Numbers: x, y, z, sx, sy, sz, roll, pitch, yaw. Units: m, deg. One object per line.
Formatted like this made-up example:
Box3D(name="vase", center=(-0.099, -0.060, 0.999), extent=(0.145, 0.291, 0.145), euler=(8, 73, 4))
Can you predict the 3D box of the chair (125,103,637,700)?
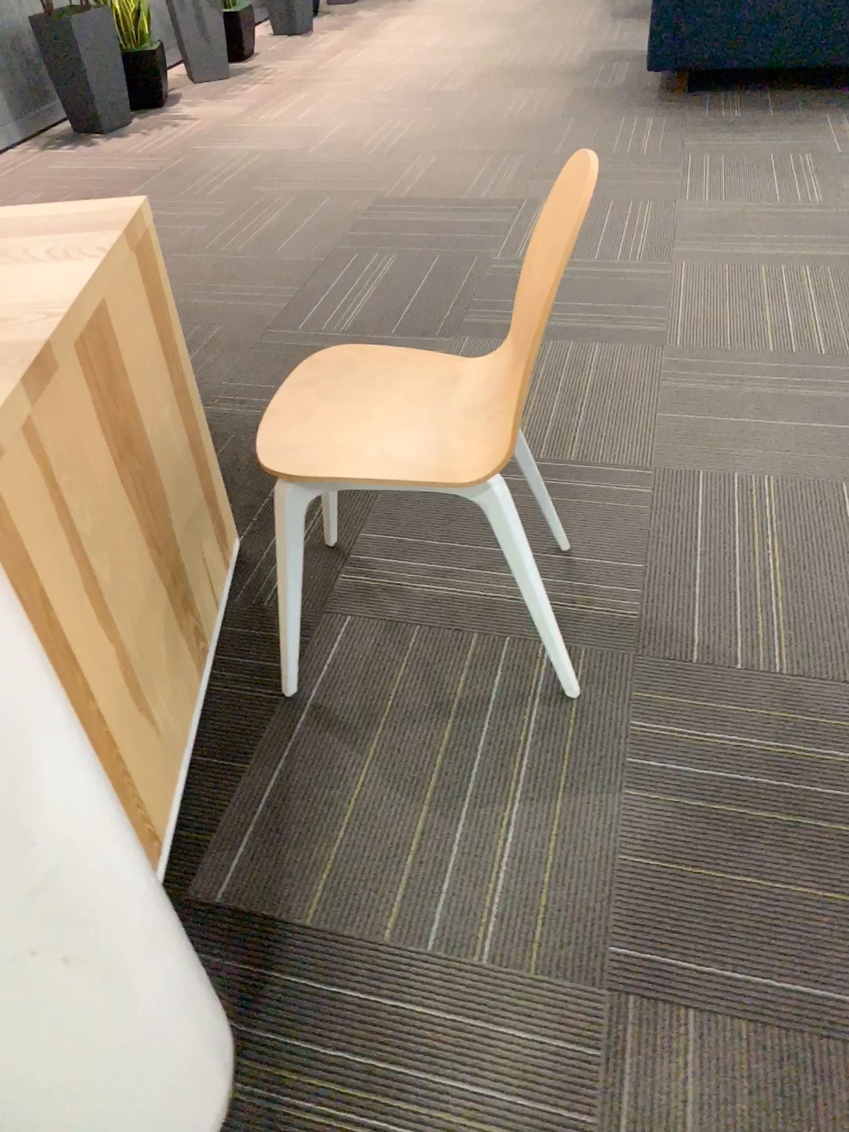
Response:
Box3D(name="chair", center=(-0.014, -0.234, 1.413), extent=(0.580, 0.805, 0.483), euler=(0, 41, 5))
